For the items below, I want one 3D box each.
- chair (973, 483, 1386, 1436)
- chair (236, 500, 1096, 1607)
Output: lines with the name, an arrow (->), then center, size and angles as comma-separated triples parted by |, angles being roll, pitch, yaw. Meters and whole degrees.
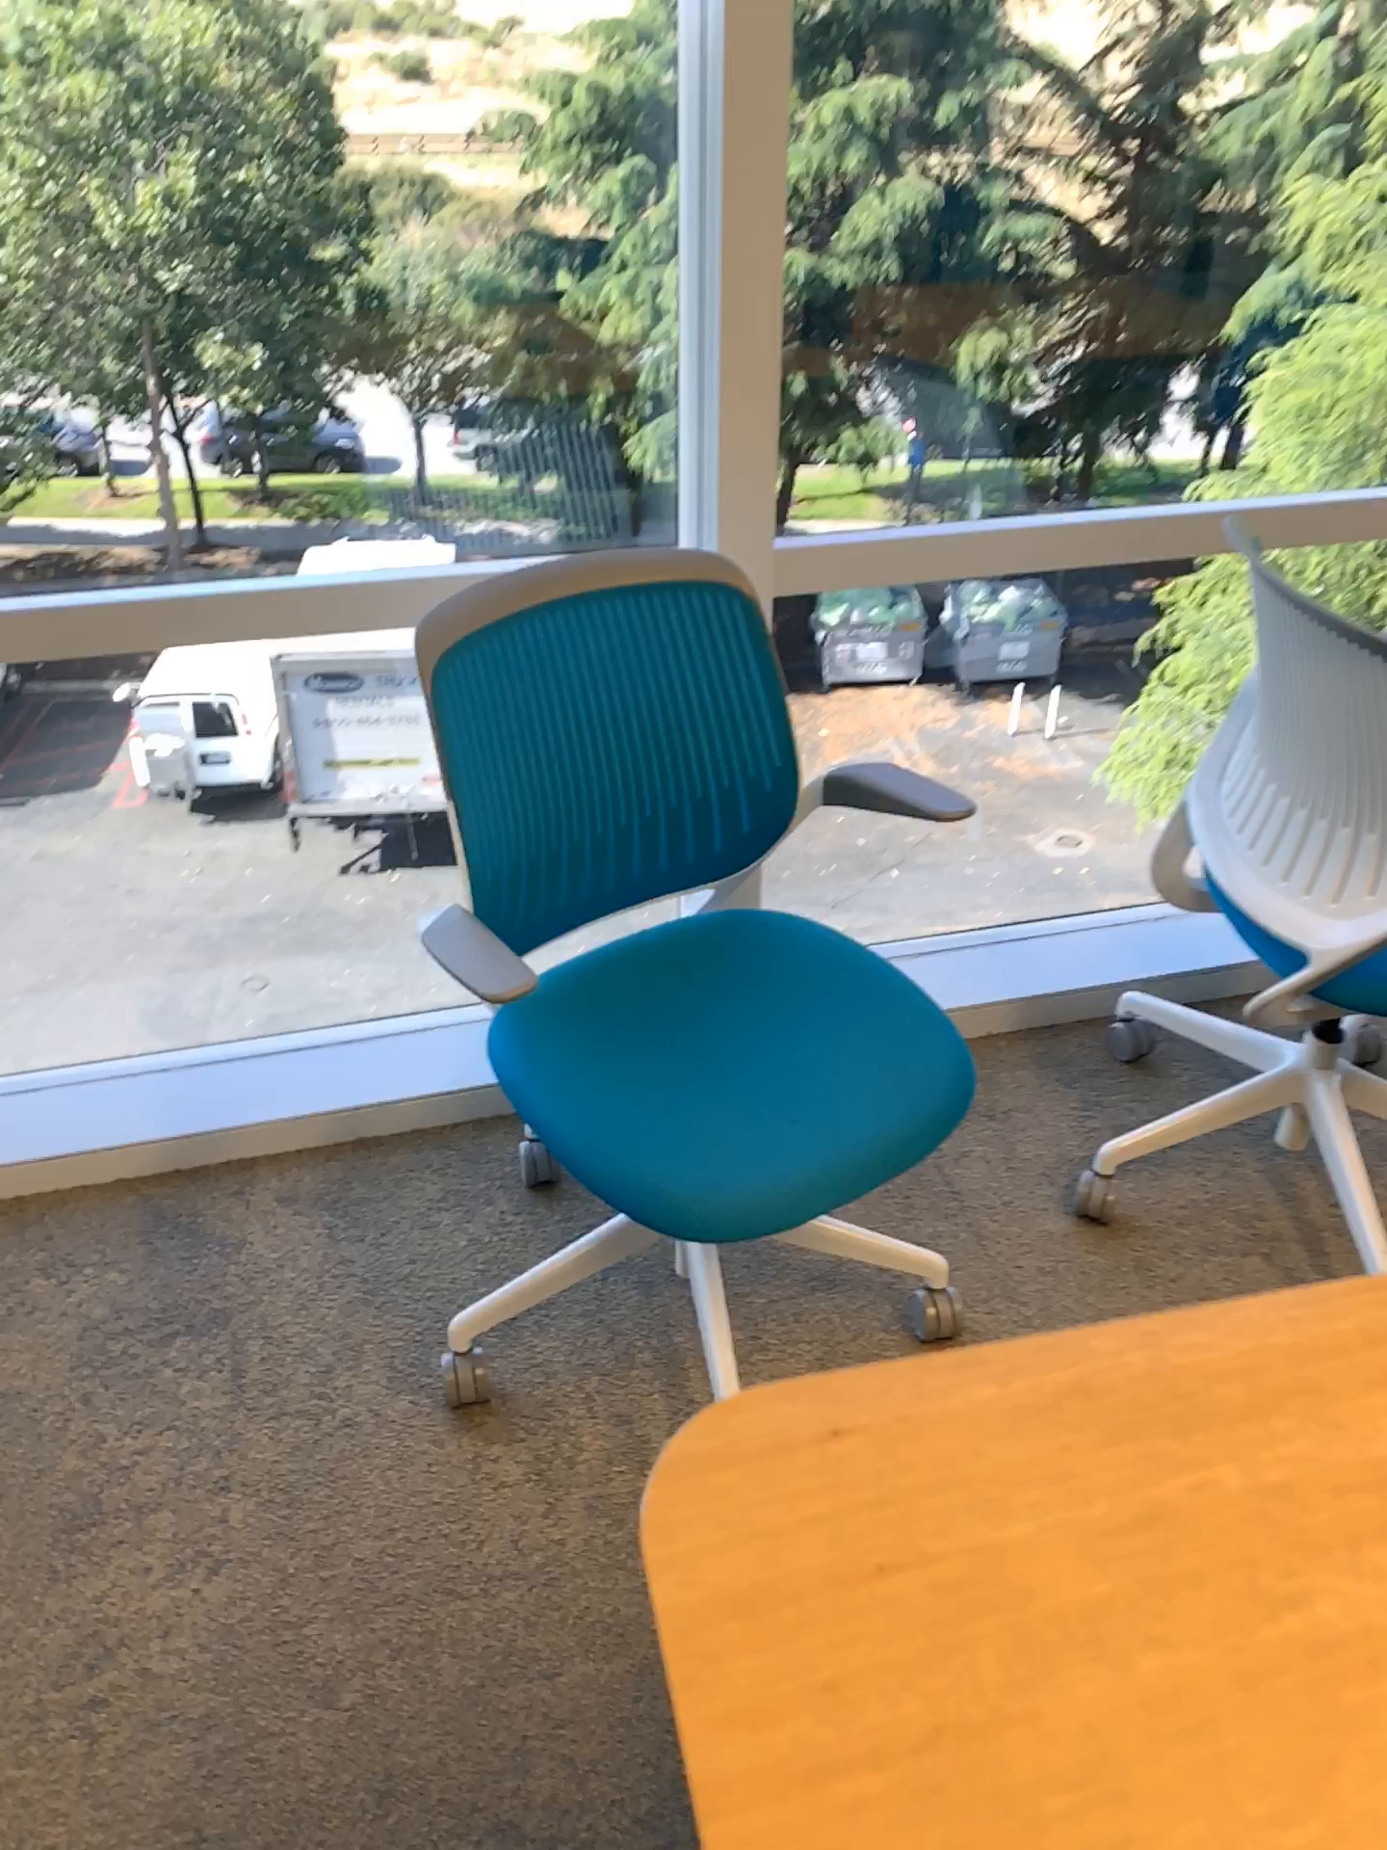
chair -> 0.878, 0.026, 1.914 | 0.640, 1.014, 0.654 | -9, 35, -14
chair -> -0.092, 0.124, 2.020 | 0.730, 1.134, 0.874 | -16, 37, -23
